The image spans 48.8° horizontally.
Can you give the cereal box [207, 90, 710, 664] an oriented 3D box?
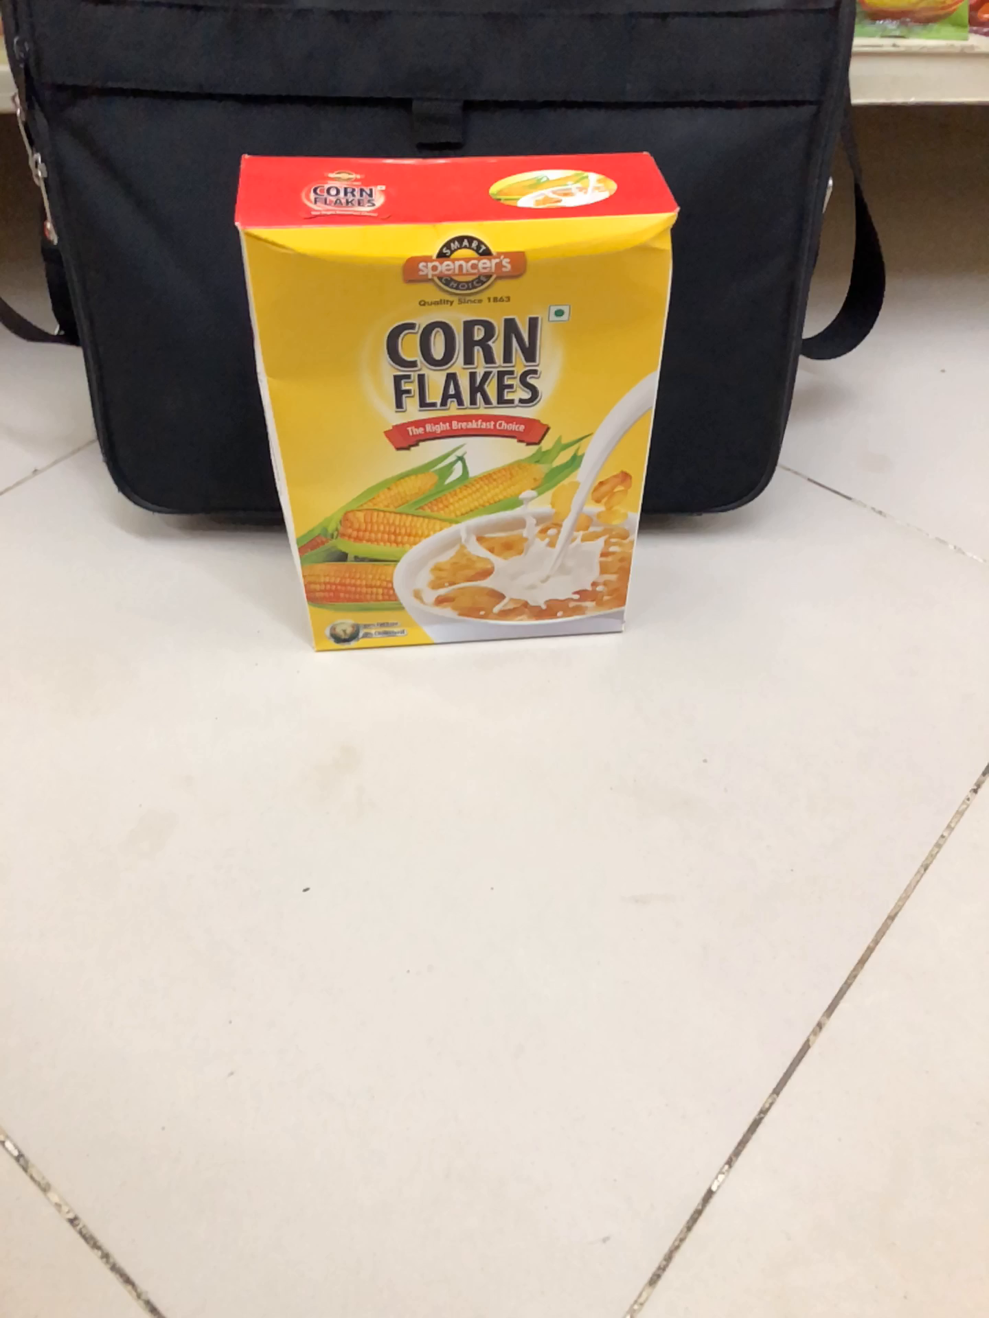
[{"bbox_3d":[-0.013,-0.119,0.535,0.190,0.268,0.070,-4,48,-2],"label":"cereal box"}]
